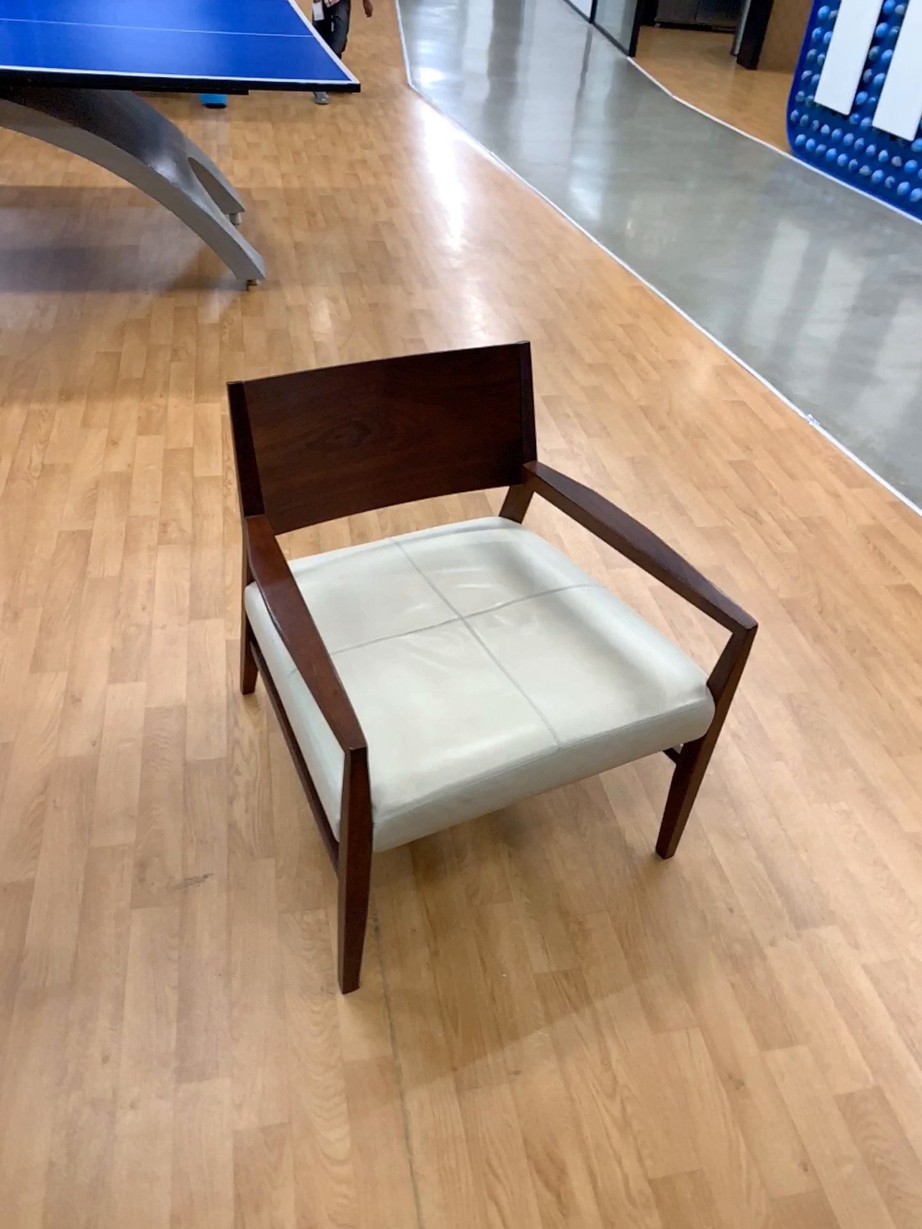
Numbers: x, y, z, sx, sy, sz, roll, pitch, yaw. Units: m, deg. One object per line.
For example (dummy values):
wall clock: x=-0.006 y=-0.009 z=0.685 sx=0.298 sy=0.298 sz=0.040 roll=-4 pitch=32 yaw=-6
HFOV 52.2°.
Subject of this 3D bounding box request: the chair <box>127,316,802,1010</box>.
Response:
chair: x=-0.057 y=0.012 z=1.481 sx=0.671 sy=0.634 sz=0.715 roll=-15 pitch=43 yaw=-24
